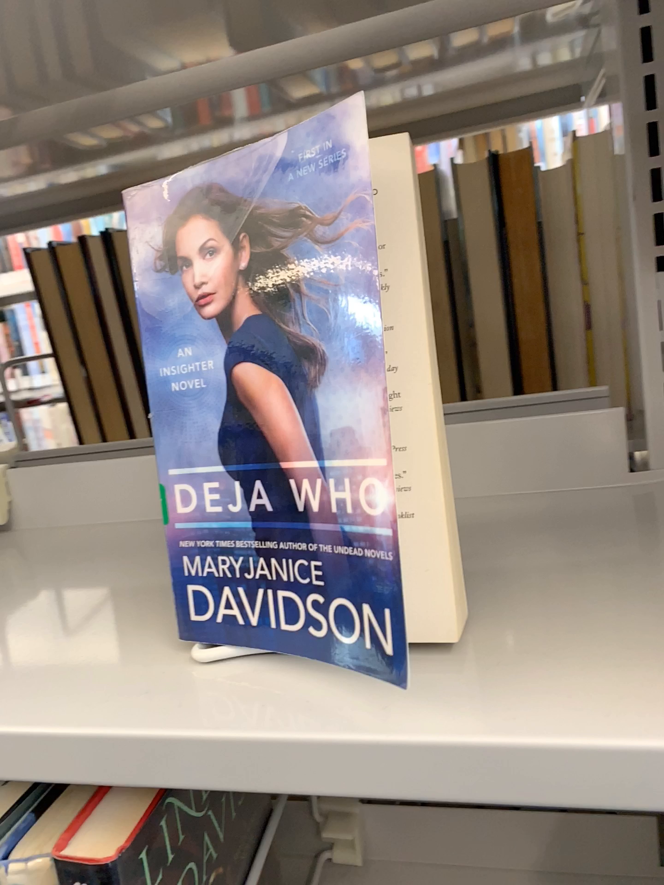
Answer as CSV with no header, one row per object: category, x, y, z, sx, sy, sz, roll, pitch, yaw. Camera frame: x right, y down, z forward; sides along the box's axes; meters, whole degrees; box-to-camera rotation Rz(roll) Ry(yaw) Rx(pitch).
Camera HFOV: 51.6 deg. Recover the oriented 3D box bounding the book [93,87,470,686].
book,-0.024,-0.016,0.273,0.136,0.190,0.047,-3,1,32
